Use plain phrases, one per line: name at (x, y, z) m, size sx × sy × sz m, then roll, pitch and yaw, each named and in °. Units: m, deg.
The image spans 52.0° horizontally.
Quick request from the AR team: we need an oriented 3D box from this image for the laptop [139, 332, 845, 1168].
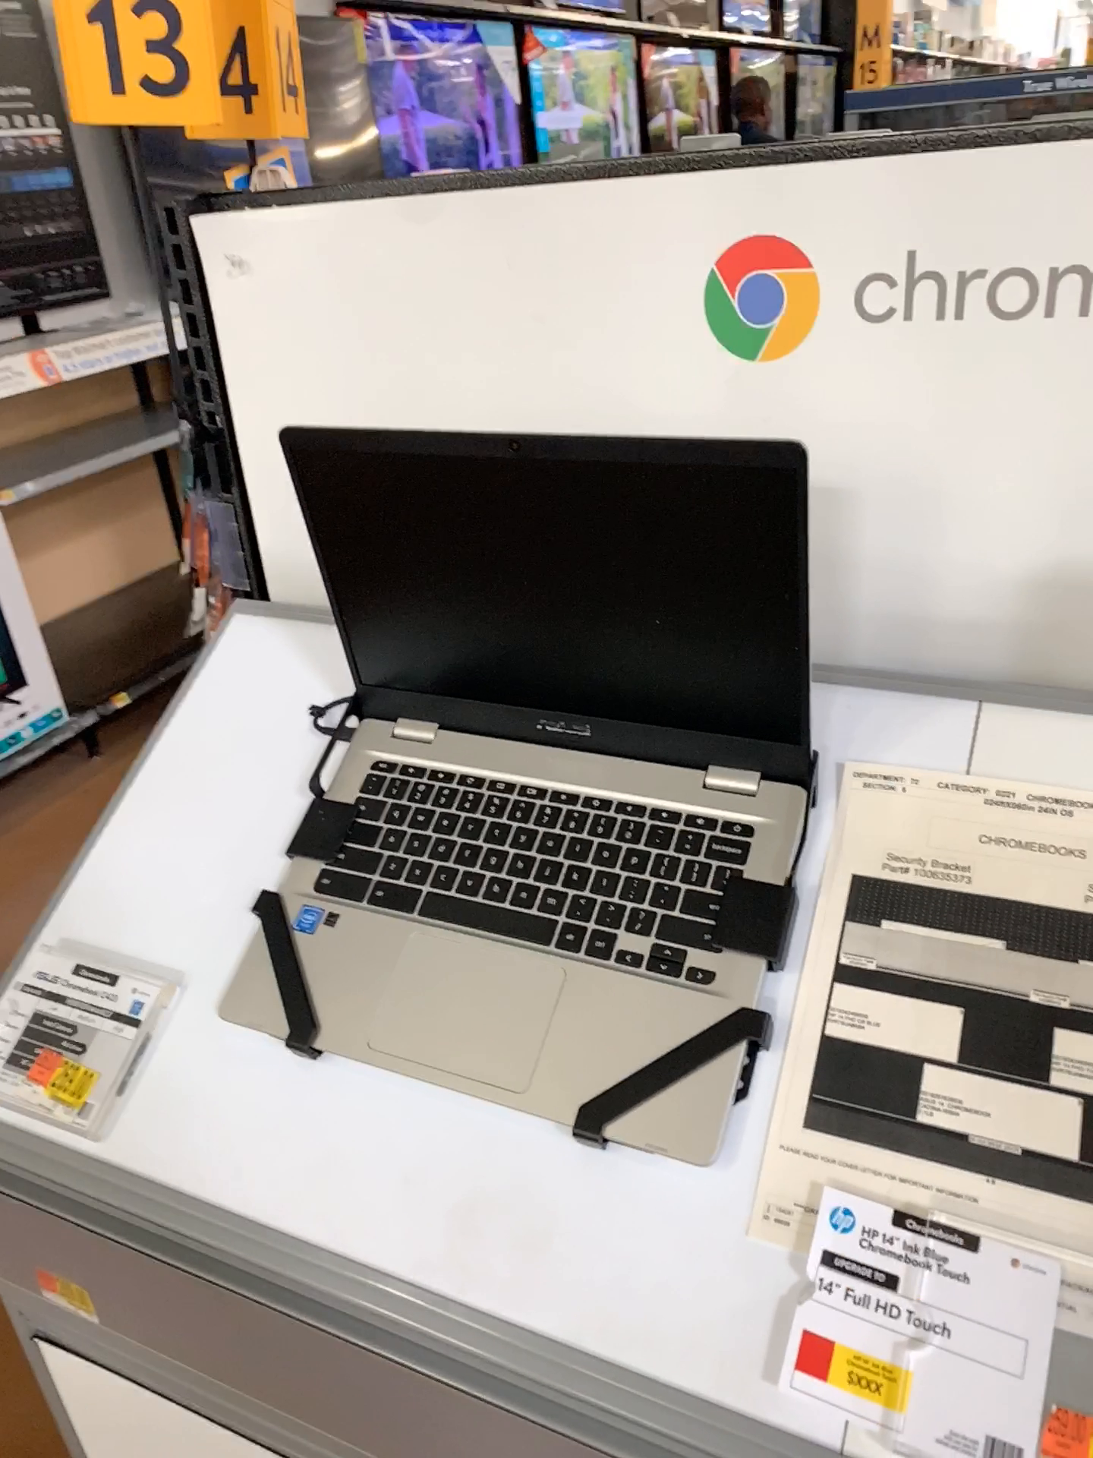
laptop at (-0.018, -0.019, 0.641) m, size 0.309 × 0.196 × 0.293 m, roll 8°, pitch 50°, yaw 24°
